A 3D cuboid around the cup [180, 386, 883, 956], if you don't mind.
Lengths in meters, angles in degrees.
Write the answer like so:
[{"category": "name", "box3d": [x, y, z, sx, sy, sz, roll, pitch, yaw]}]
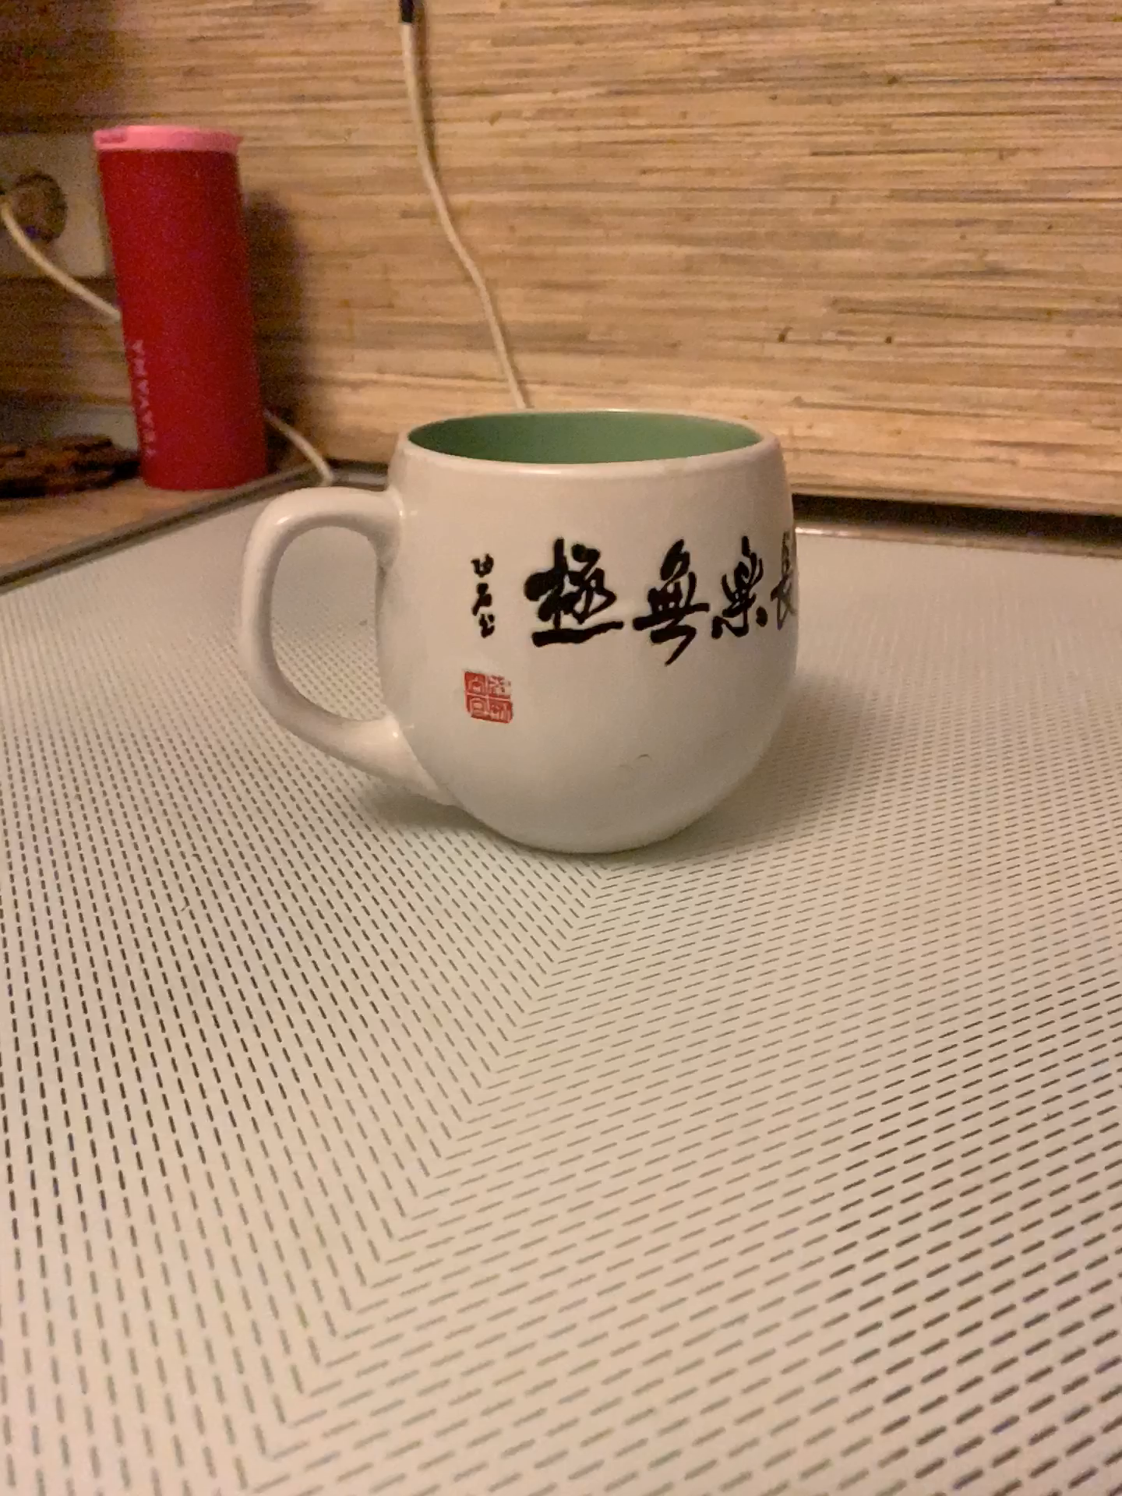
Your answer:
[{"category": "cup", "box3d": [-0.010, -0.029, 0.267, 0.124, 0.091, 0.088, -11, 25, -26]}]
